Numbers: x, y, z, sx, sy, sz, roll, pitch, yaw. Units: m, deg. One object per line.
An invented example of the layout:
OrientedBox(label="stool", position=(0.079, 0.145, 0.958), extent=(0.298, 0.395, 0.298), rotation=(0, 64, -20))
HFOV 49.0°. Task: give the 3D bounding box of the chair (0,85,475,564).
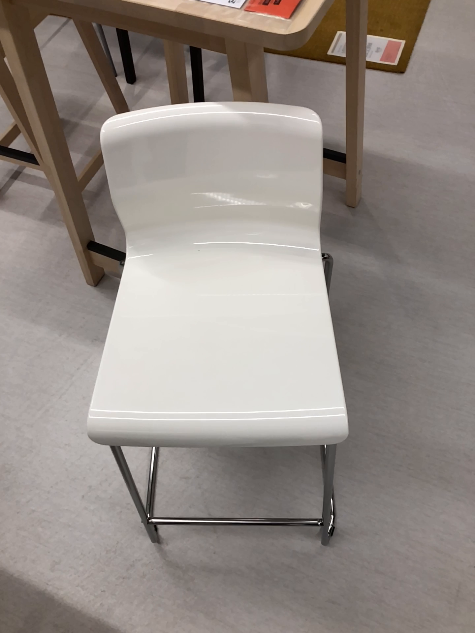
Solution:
OrientedBox(label="chair", position=(-0.009, 0.121, 0.981), extent=(0.500, 0.826, 0.552), rotation=(-2, 60, 3))
